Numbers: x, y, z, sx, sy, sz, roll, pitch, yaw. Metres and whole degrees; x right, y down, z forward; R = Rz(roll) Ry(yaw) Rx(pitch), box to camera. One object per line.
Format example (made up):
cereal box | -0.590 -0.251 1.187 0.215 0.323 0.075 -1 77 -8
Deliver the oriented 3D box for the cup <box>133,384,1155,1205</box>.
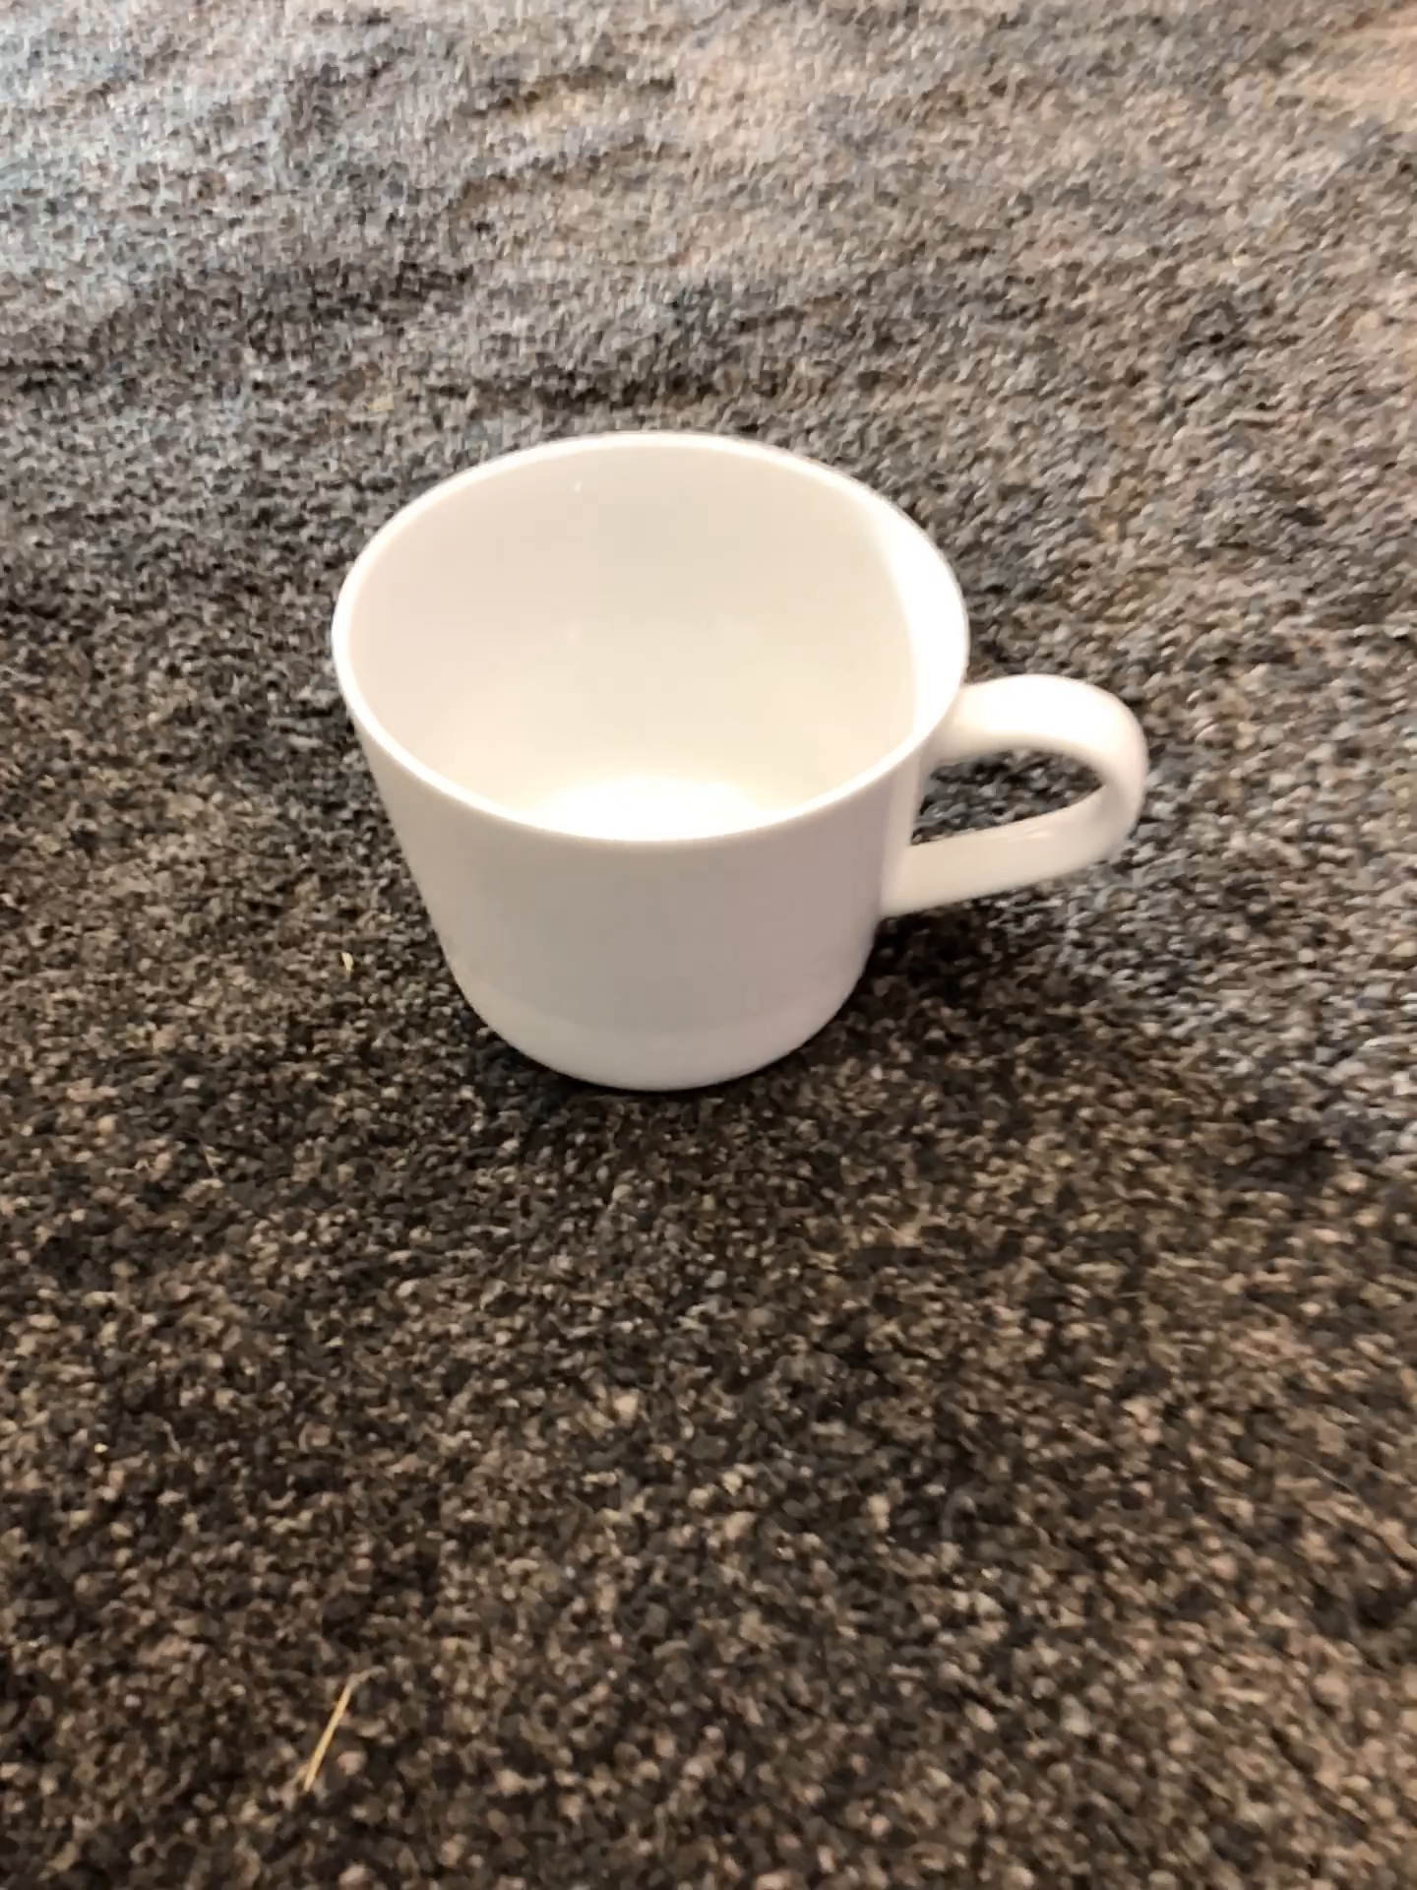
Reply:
cup | -0.002 -0.029 0.272 0.140 0.080 0.100 7 50 8
